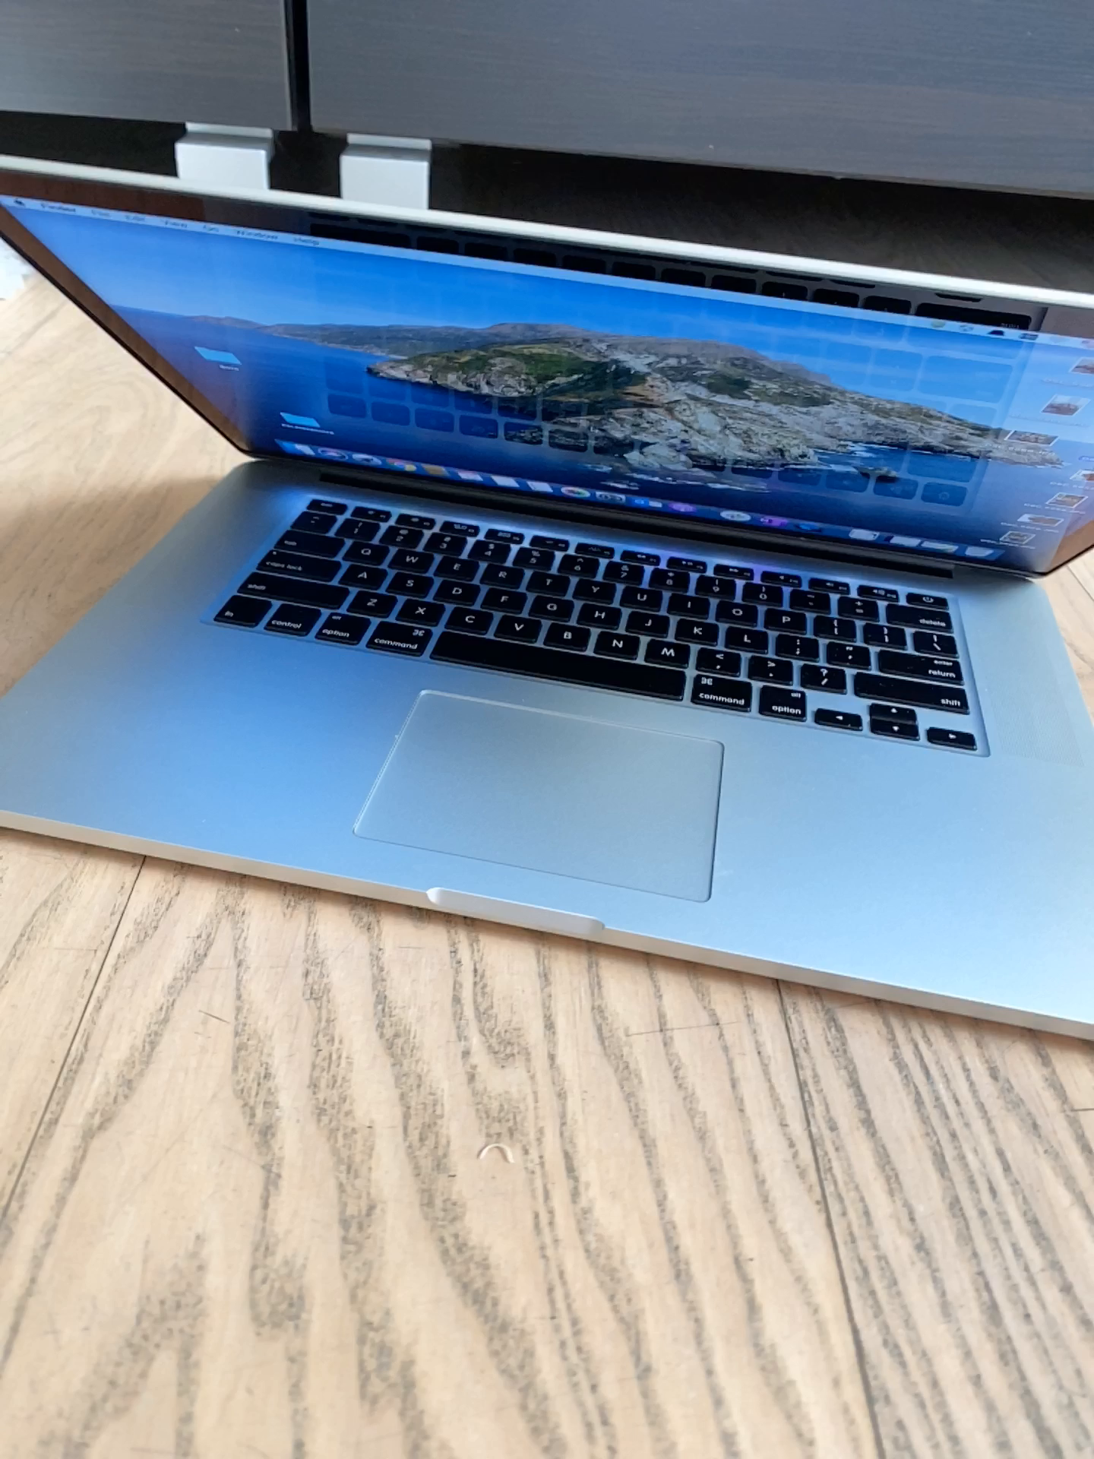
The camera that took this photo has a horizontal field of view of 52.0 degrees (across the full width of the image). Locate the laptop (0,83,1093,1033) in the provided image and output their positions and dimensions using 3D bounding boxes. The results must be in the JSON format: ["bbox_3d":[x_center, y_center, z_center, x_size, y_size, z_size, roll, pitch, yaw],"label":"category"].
[{"bbox_3d":[0.019,-0.083,0.366,0.362,0.157,0.237,10,37,6],"label":"laptop"}]
